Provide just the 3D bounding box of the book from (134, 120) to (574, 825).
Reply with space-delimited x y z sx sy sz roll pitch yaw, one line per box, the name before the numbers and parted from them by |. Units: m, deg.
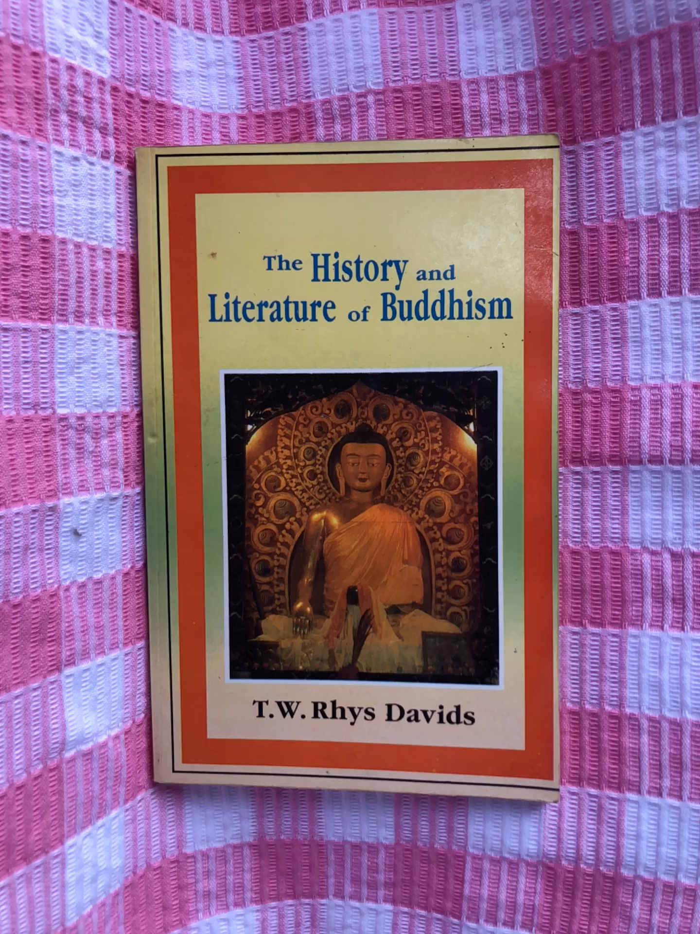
book | 0.000 0.004 0.262 0.020 0.140 0.220 -24 115 -81
